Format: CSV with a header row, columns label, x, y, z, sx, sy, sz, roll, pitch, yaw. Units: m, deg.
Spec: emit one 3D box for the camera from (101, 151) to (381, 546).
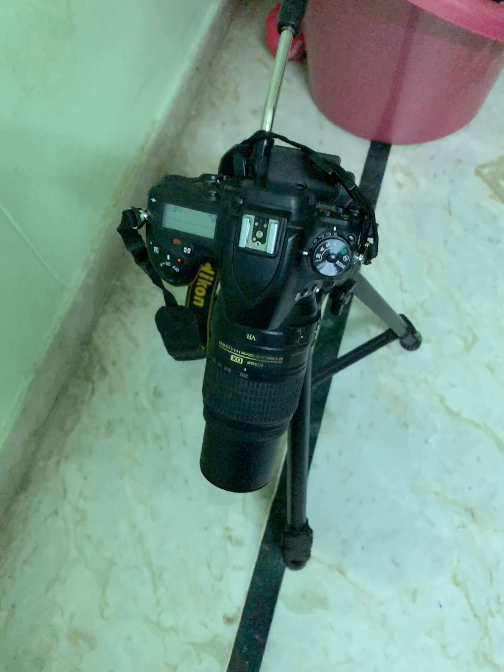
label,x,y,z,sx,sy,sz,roll,pitch,yaw
camera,-0.007,0.000,0.352,0.130,0.214,0.116,15,23,10
